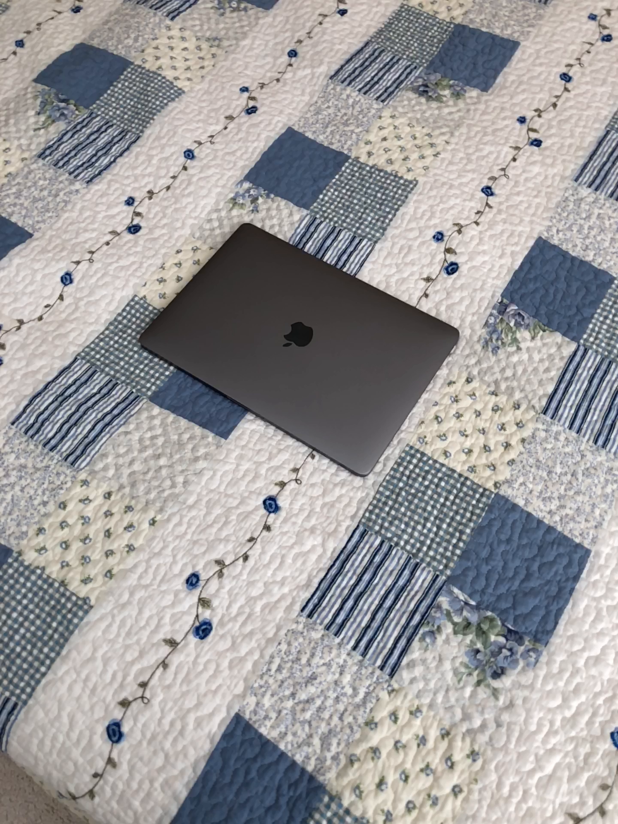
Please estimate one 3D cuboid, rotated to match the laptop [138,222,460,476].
[{"bbox_3d":[-0.010,-0.083,0.746,0.290,0.005,0.201,30,66,15],"label":"laptop"}]
